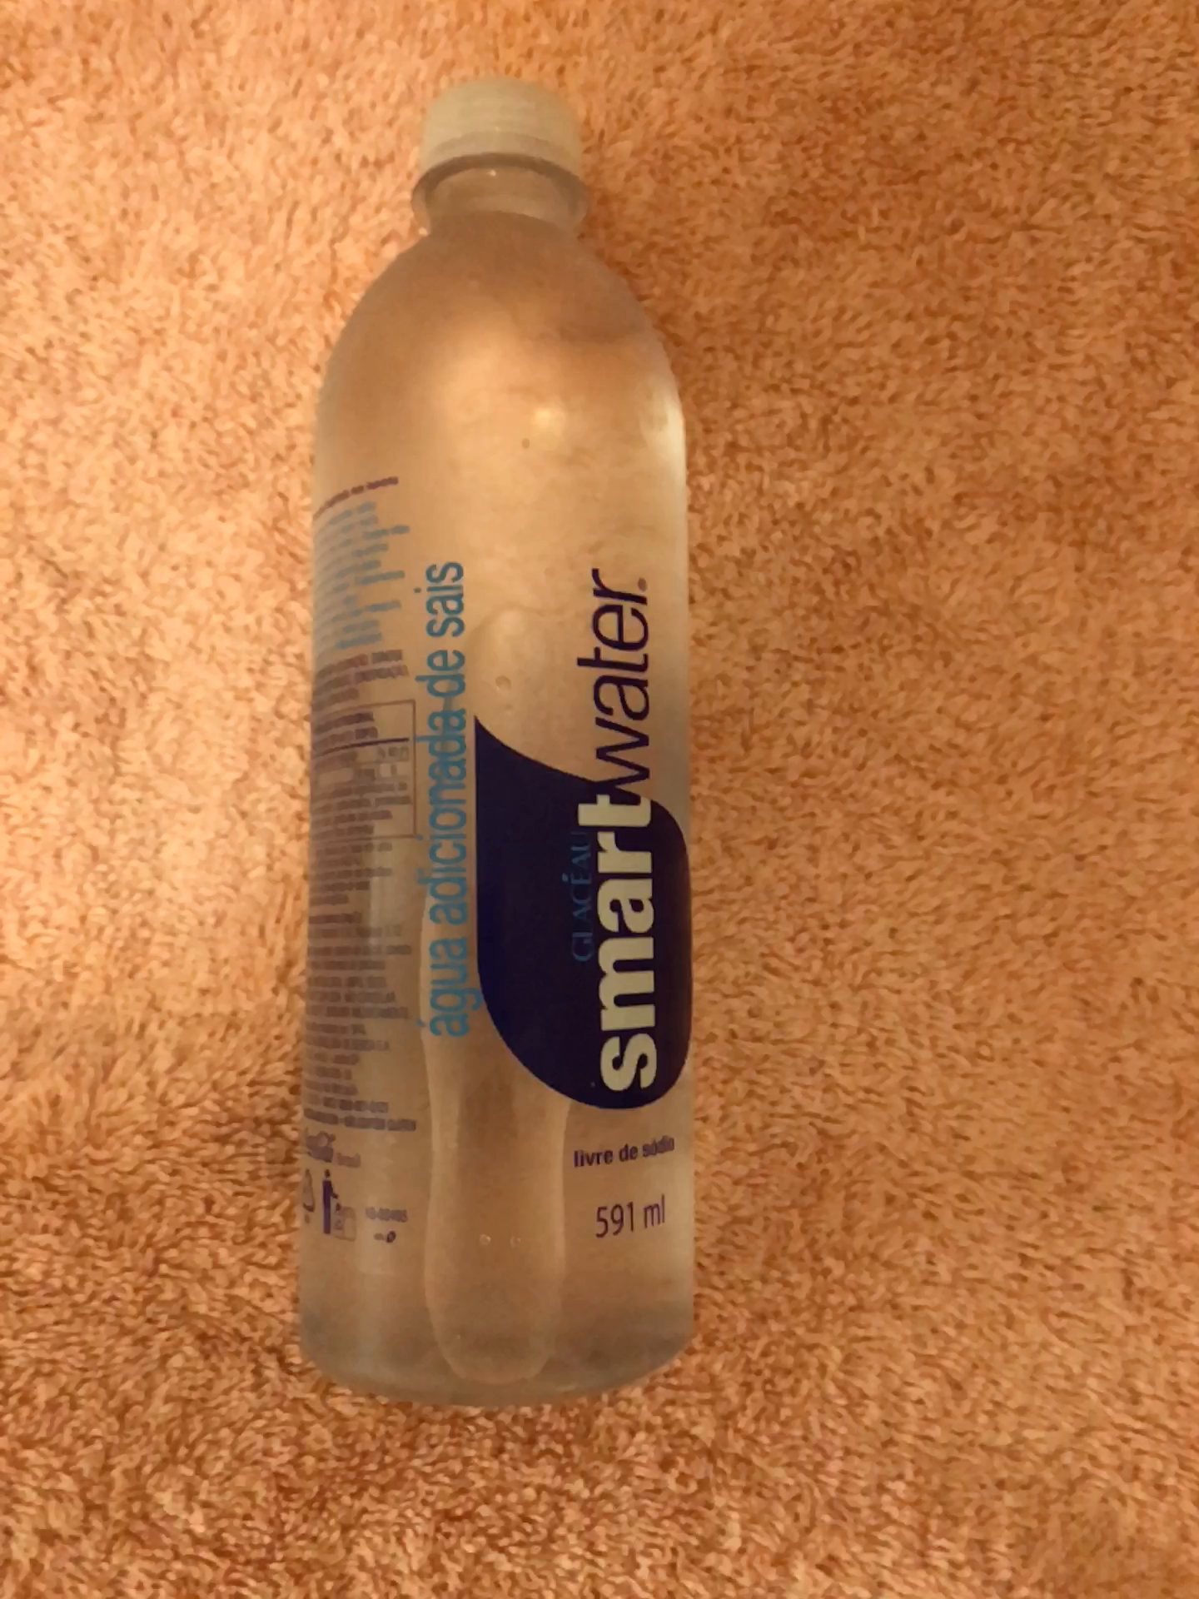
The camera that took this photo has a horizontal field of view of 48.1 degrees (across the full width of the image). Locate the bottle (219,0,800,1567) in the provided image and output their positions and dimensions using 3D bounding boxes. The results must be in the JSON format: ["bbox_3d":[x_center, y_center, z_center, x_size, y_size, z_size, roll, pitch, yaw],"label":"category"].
[{"bbox_3d":[-0.017,-0.012,0.216,0.080,0.050,0.230,-1,88,-12],"label":"bottle"}]
